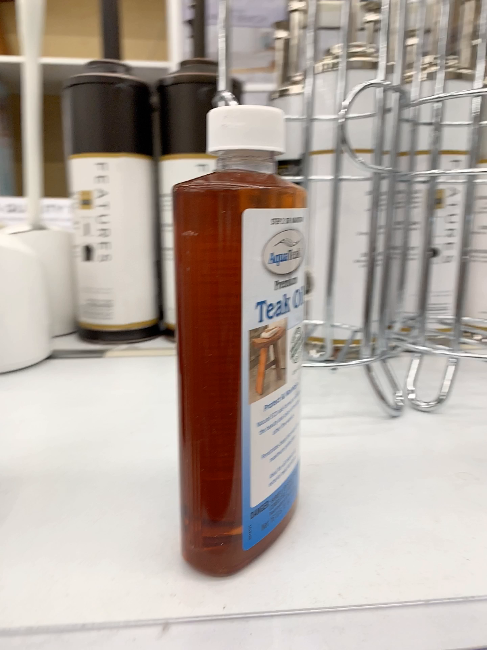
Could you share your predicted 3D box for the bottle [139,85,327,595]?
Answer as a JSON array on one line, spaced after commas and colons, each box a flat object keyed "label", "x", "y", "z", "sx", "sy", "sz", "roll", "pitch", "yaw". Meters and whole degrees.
[{"label": "bottle", "x": 0.000, "y": 0.006, "z": 0.247, "sx": 0.046, "sy": 0.207, "sz": 0.088, "roll": 7, "pitch": 15, "yaw": 27}]
